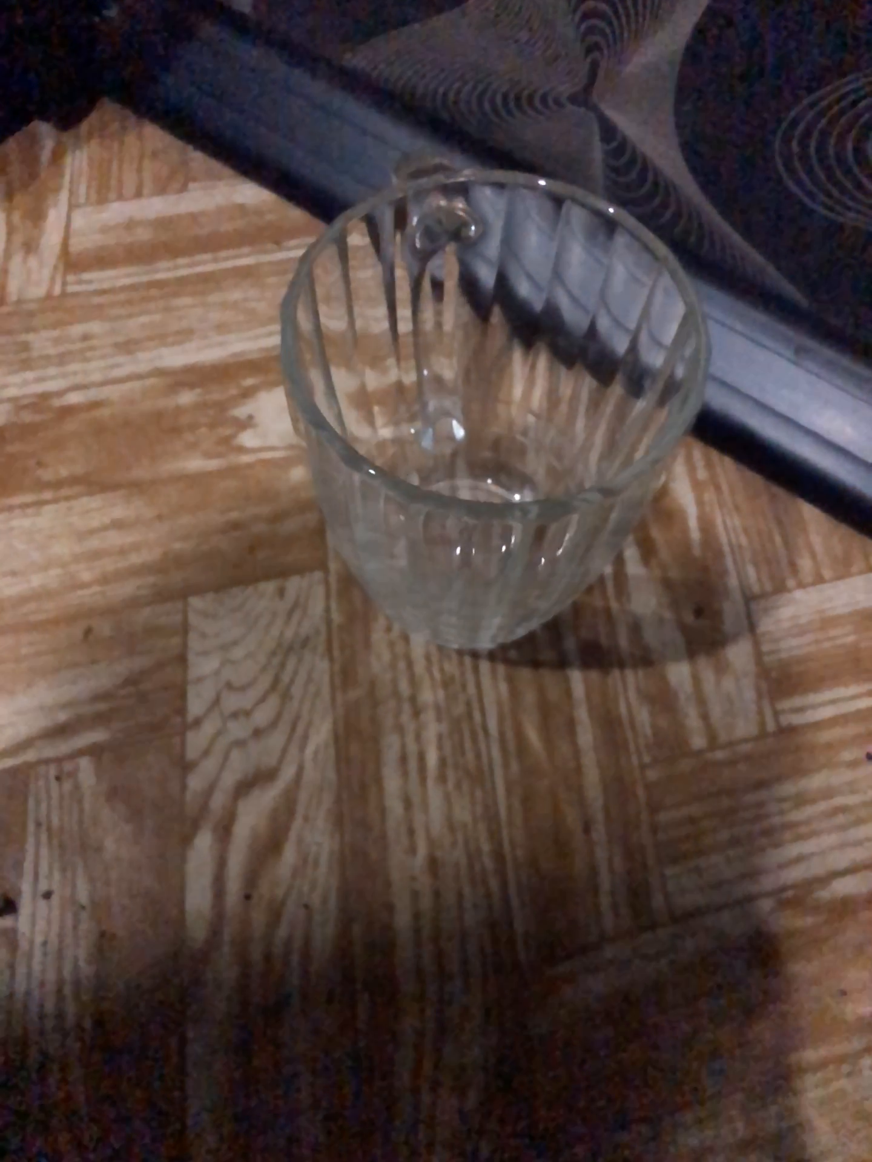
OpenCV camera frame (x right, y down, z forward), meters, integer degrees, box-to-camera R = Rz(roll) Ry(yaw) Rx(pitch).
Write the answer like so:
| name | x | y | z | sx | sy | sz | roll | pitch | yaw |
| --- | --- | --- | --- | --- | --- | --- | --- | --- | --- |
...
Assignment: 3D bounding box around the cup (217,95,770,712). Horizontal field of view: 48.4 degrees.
| name | x | y | z | sx | sy | sz | roll | pitch | yaw |
| --- | --- | --- | --- | --- | --- | --- | --- | --- | --- |
| cup | 0.005 | -0.045 | 0.274 | 0.113 | 0.107 | 0.126 | -5 | 64 | -4 |
